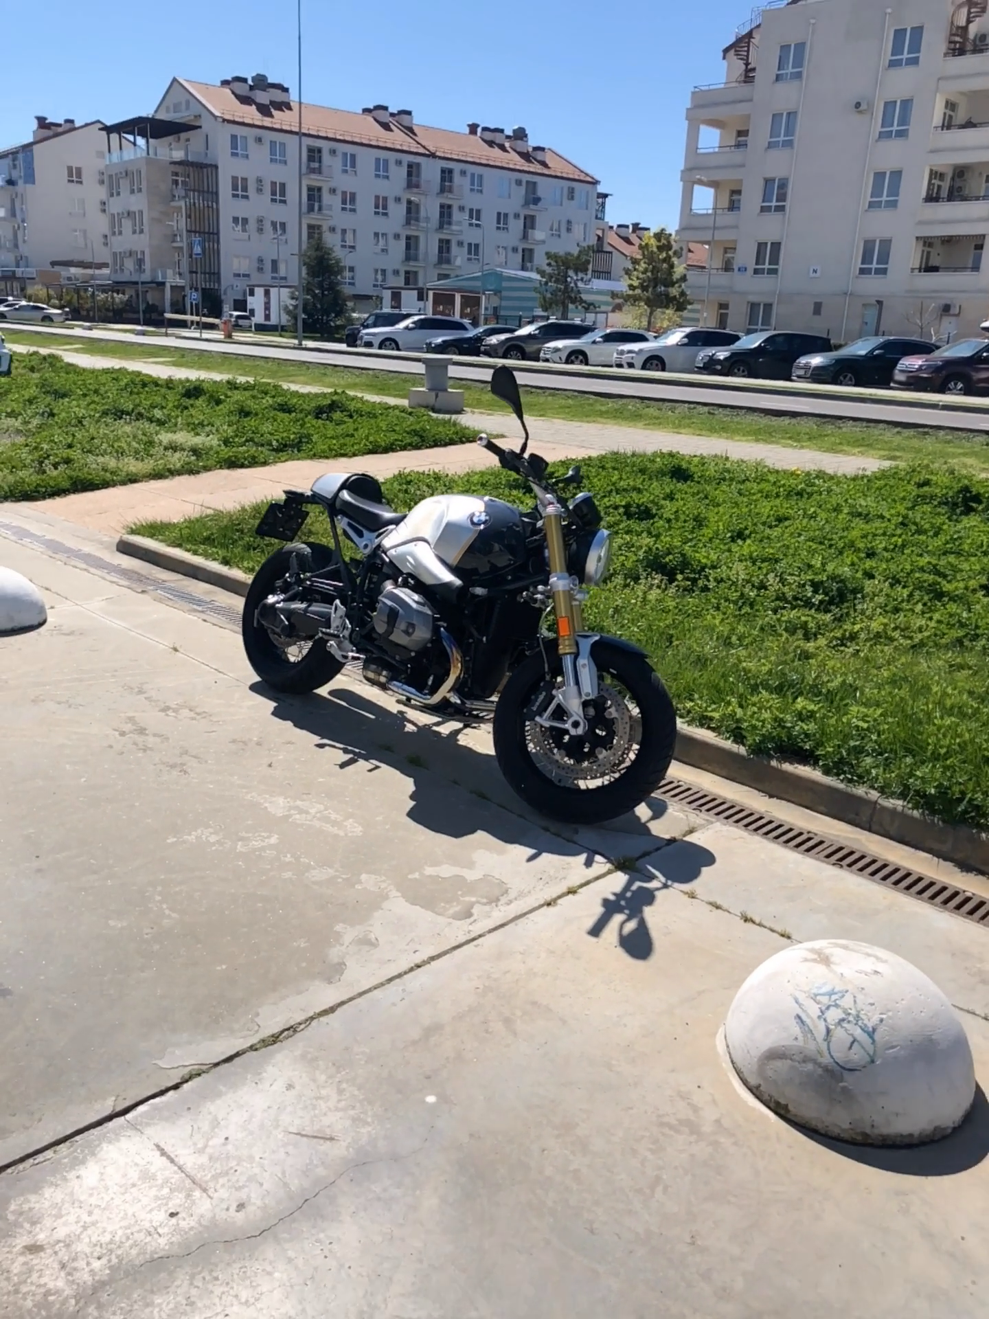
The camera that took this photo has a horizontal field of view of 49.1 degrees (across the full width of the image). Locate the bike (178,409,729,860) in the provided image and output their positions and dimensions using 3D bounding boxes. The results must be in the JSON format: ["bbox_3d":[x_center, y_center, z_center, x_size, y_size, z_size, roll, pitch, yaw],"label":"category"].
[{"bbox_3d":[-0.266,-0.242,3.954,2.071,1.123,0.648,16,21,36],"label":"bike"}]
